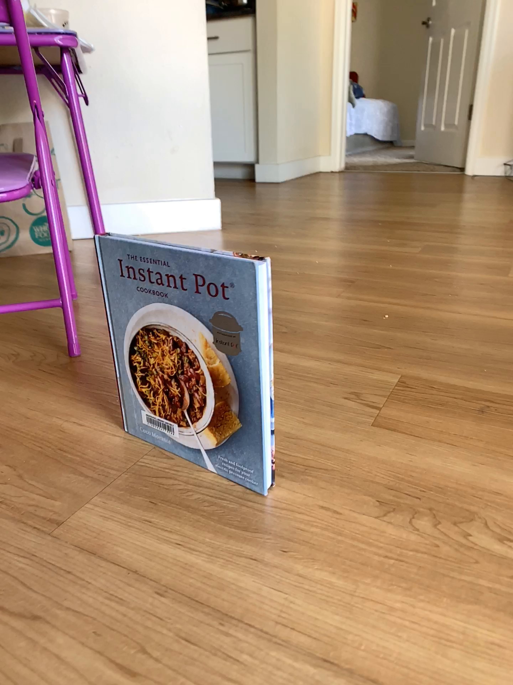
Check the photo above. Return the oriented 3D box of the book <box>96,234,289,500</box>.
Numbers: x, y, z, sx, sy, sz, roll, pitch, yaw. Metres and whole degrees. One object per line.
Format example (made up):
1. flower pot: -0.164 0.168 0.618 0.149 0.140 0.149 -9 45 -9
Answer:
1. book: -0.072 0.018 0.563 0.230 0.239 0.030 15 25 34
